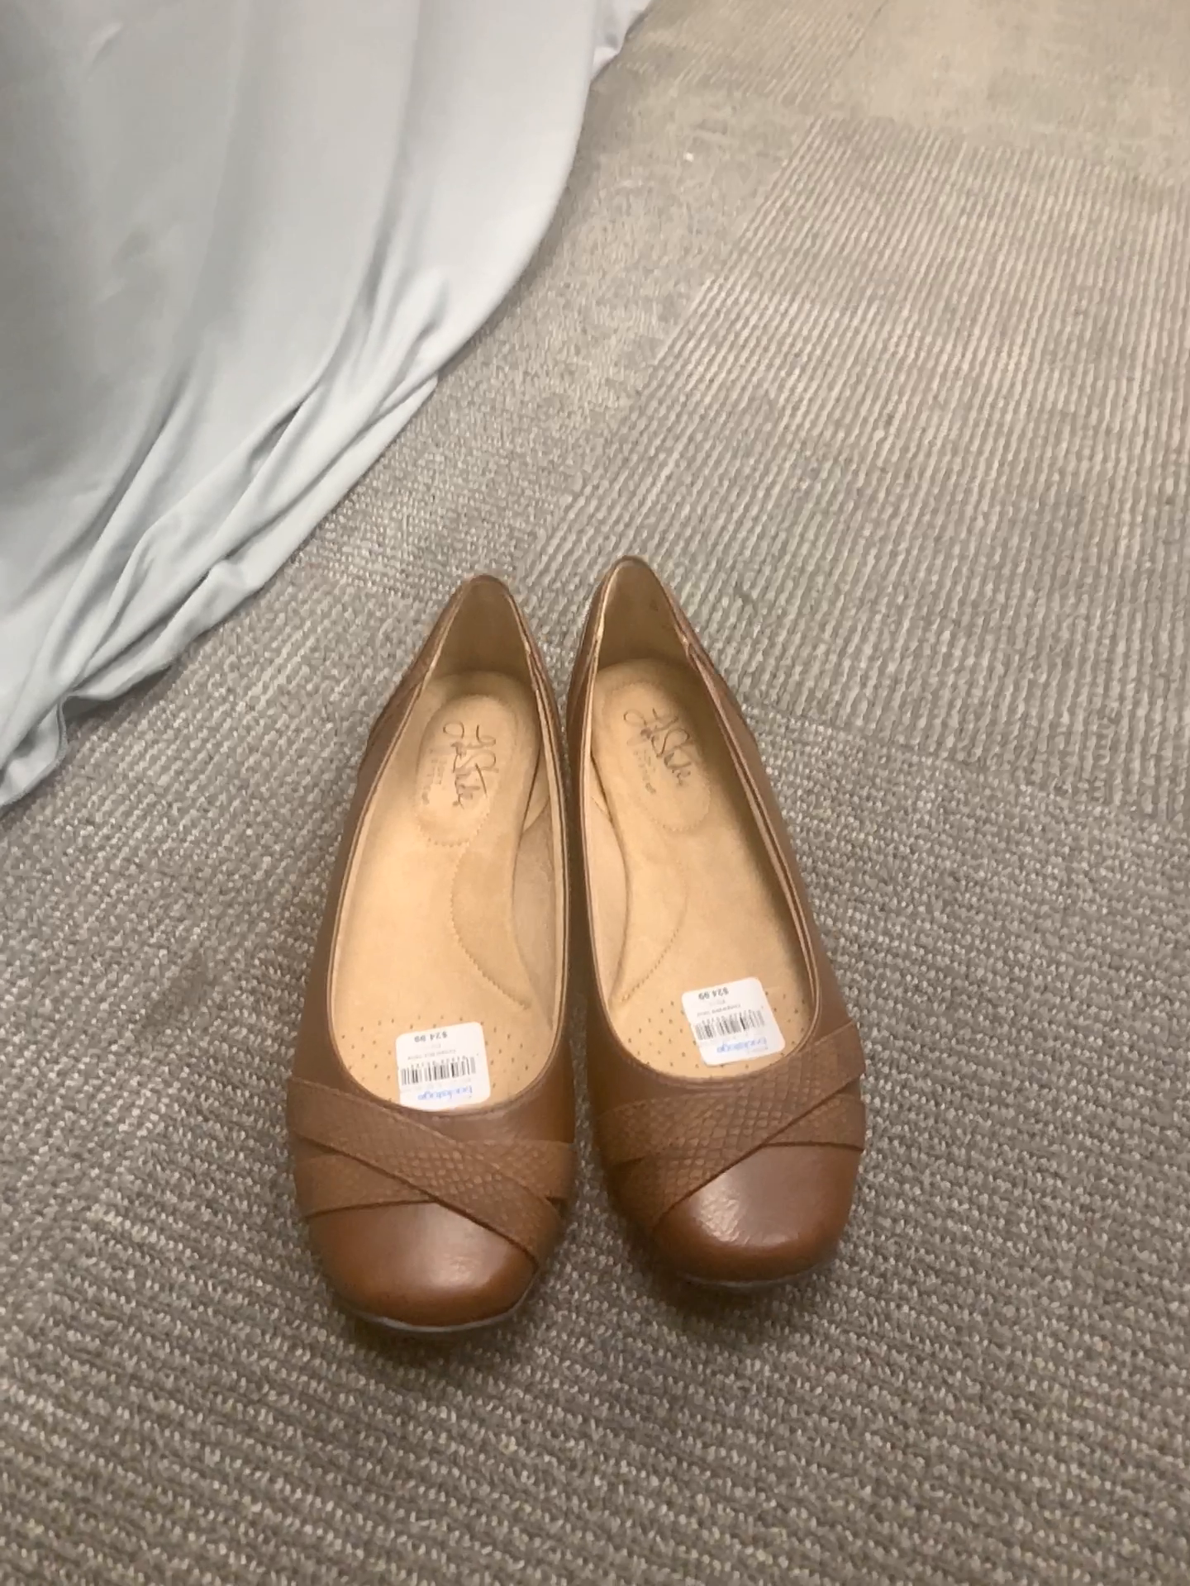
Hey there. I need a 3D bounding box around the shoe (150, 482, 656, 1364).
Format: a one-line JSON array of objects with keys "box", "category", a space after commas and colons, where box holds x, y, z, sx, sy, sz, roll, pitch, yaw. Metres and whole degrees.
[{"box": [-0.041, 0.023, 0.389, 0.099, 0.084, 0.270, 5, 52, 1], "category": "shoe"}]

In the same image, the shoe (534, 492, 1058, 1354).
[{"box": [0.042, 0.023, 0.400, 0.098, 0.084, 0.272, -4, 52, -6], "category": "shoe"}]
